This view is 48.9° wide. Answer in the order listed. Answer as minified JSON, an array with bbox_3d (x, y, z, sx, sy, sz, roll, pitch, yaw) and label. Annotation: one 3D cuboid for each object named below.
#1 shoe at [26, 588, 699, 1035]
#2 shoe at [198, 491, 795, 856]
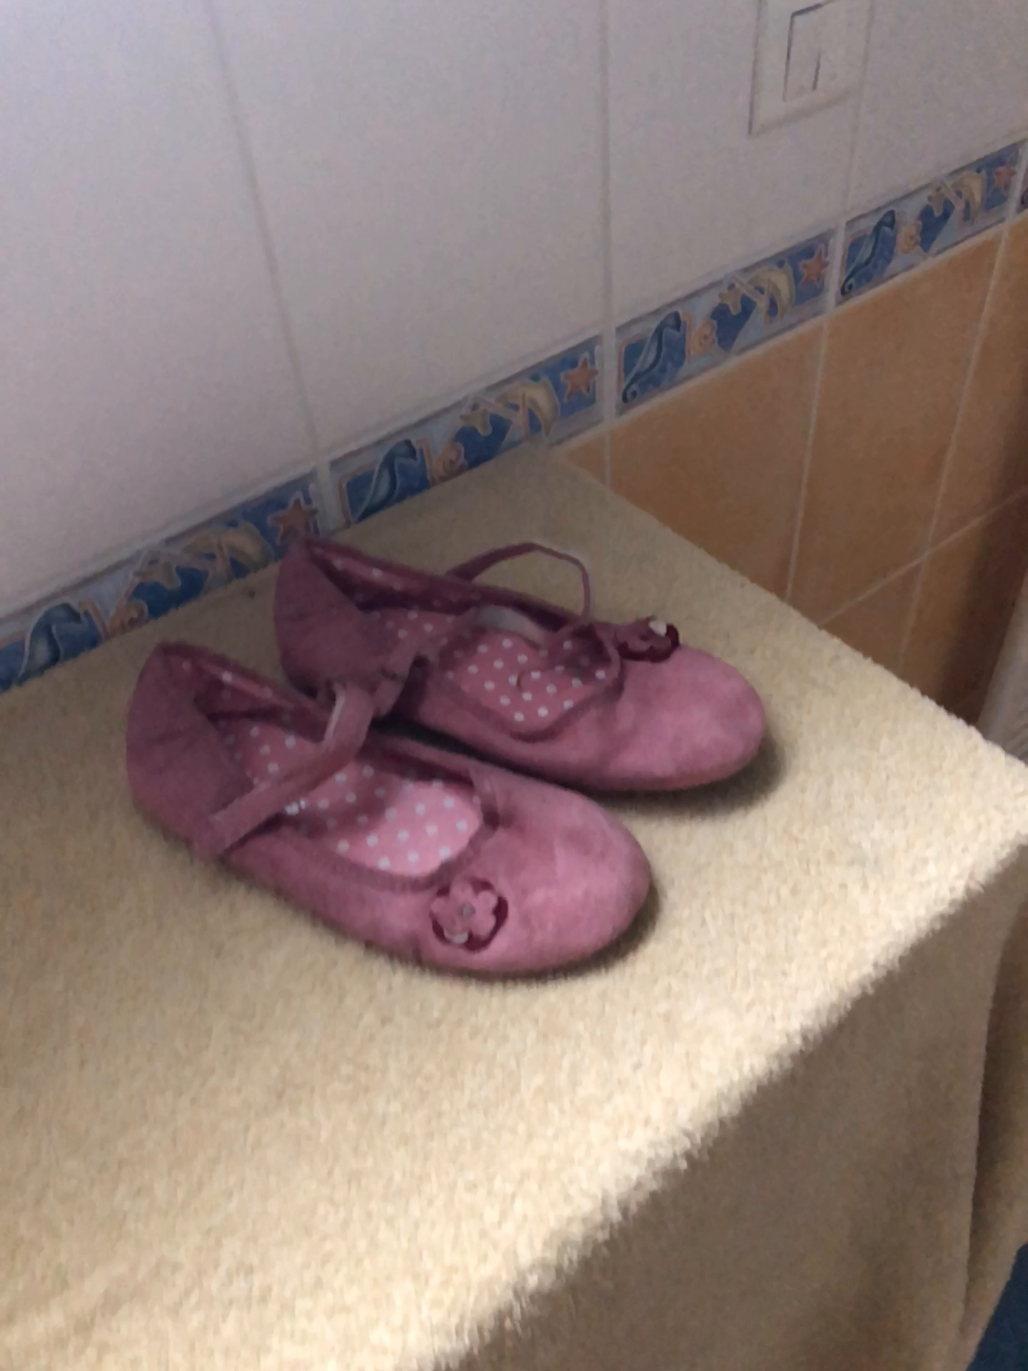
[{"bbox_3d":[-0.059,0.039,0.448,0.240,0.050,0.101,16,49,20],"label":"shoe"},{"bbox_3d":[-0.009,-0.014,0.507,0.240,0.050,0.101,16,49,20],"label":"shoe"}]
